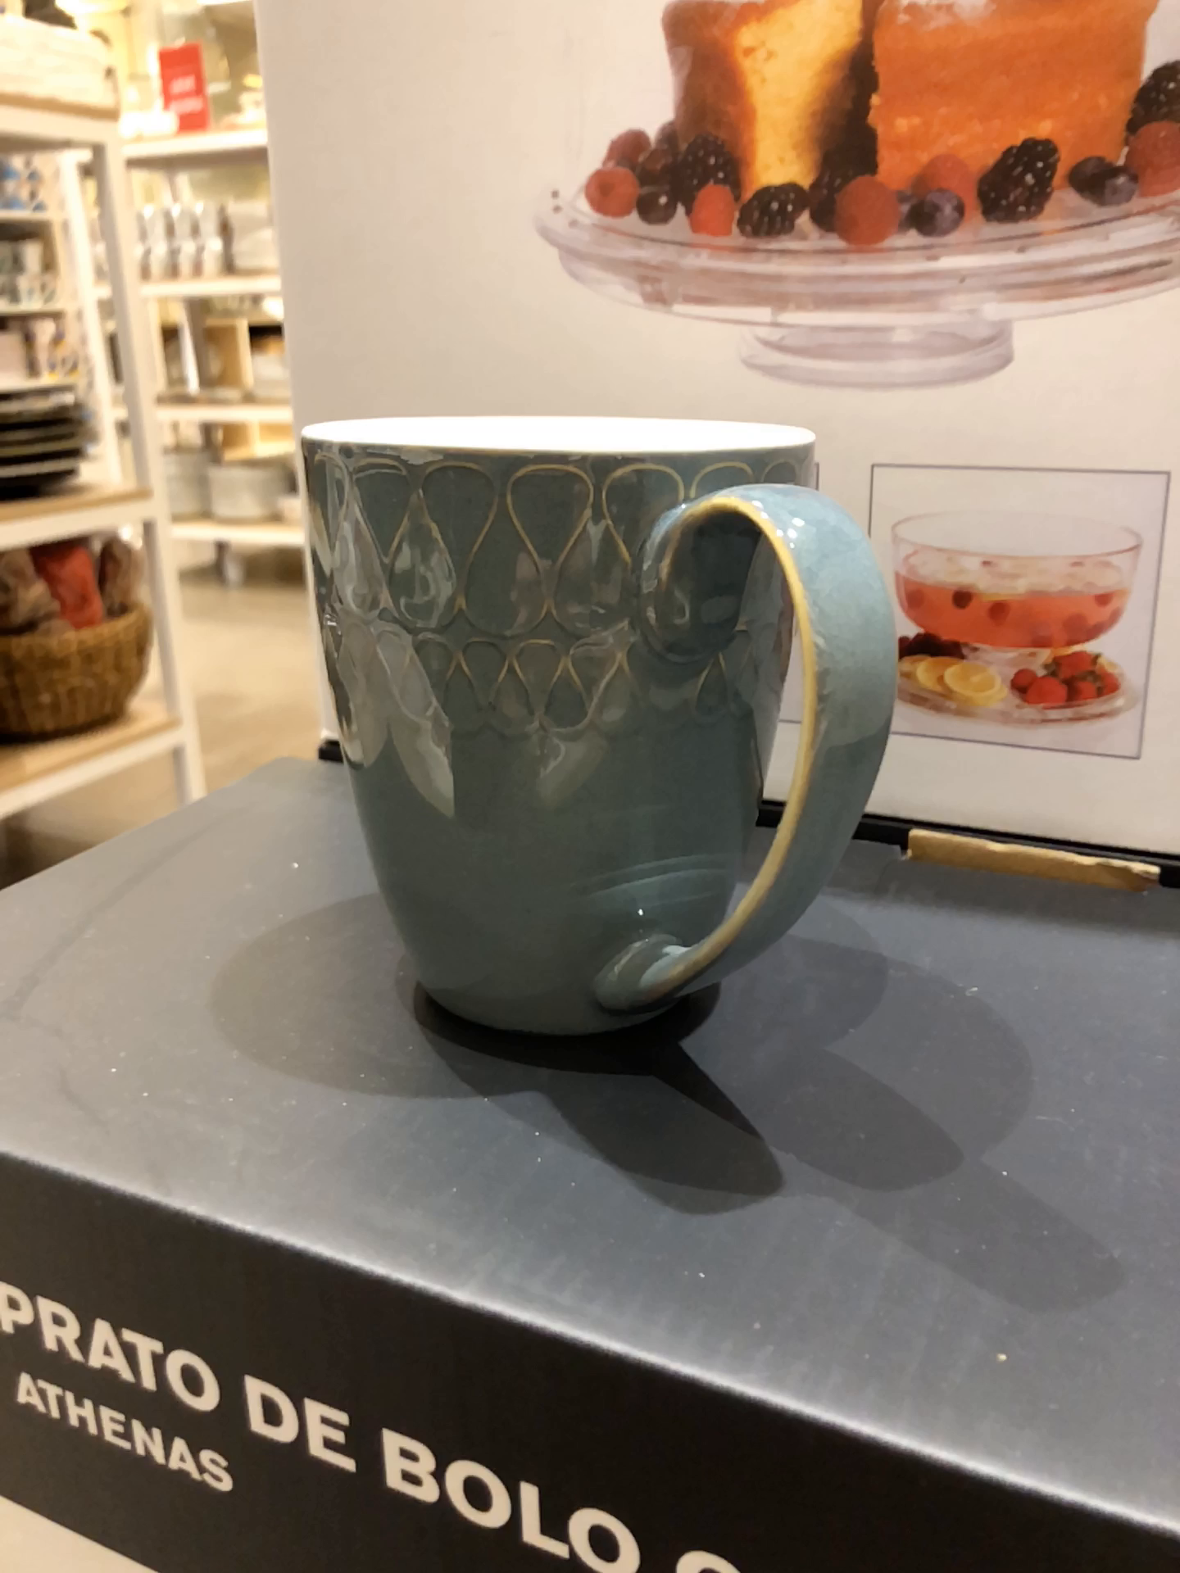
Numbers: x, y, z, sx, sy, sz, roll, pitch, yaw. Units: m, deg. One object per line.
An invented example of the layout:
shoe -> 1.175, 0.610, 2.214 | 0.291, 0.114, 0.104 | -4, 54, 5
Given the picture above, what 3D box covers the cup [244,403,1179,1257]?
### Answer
cup -> 0.015, -0.011, 0.233 | 0.090, 0.099, 0.130 | -17, 24, -37
